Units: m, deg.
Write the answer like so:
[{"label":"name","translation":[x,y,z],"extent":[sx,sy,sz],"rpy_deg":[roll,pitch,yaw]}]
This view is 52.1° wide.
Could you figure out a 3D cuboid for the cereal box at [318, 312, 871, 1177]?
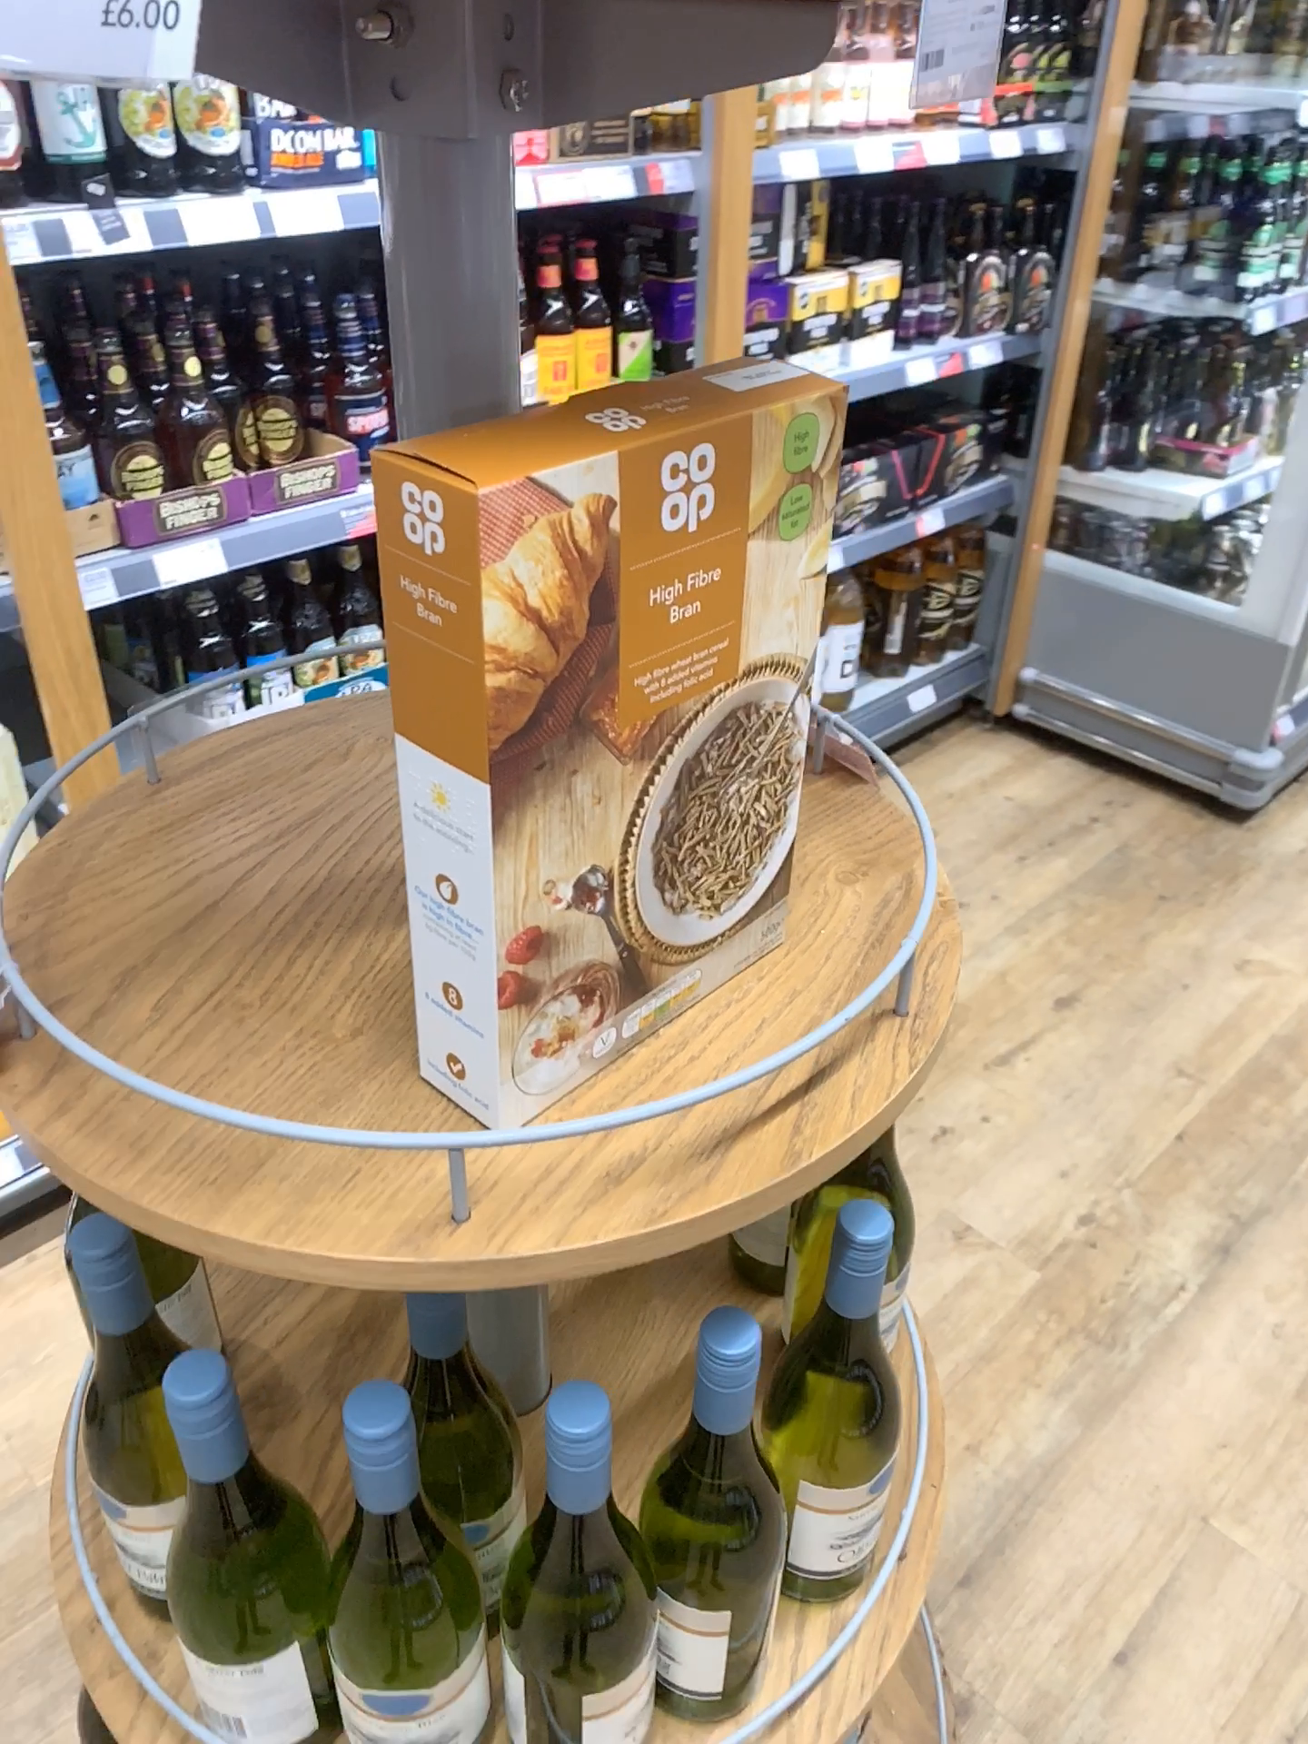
[{"label":"cereal box","translation":[-0.015,-0.050,0.518],"extent":[0.060,0.277,0.201],"rpy_deg":[27,41,33]}]
